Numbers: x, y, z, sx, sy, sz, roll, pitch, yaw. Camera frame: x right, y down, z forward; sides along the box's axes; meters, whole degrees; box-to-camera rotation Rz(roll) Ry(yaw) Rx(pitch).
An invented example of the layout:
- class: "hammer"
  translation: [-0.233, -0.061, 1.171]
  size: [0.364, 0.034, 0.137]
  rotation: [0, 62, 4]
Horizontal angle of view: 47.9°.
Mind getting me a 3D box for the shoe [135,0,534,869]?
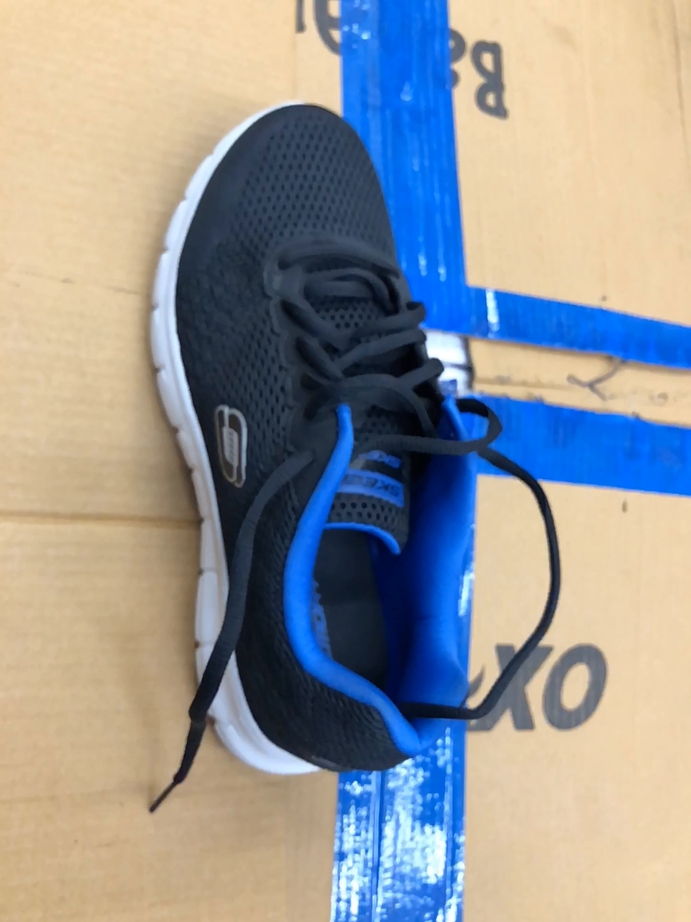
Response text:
- class: "shoe"
  translation: [-0.016, -0.014, 0.309]
  size: [0.114, 0.106, 0.278]
  rotation: [1, 80, -25]
